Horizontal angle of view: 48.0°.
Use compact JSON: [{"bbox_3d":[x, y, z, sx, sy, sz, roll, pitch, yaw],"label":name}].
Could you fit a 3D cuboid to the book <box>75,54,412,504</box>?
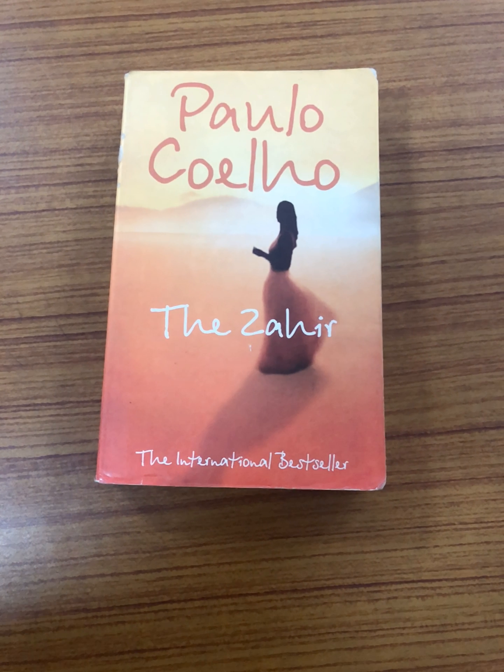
[{"bbox_3d":[-0.001,-0.025,0.239,0.120,0.040,0.180,1,78,1],"label":"book"}]
